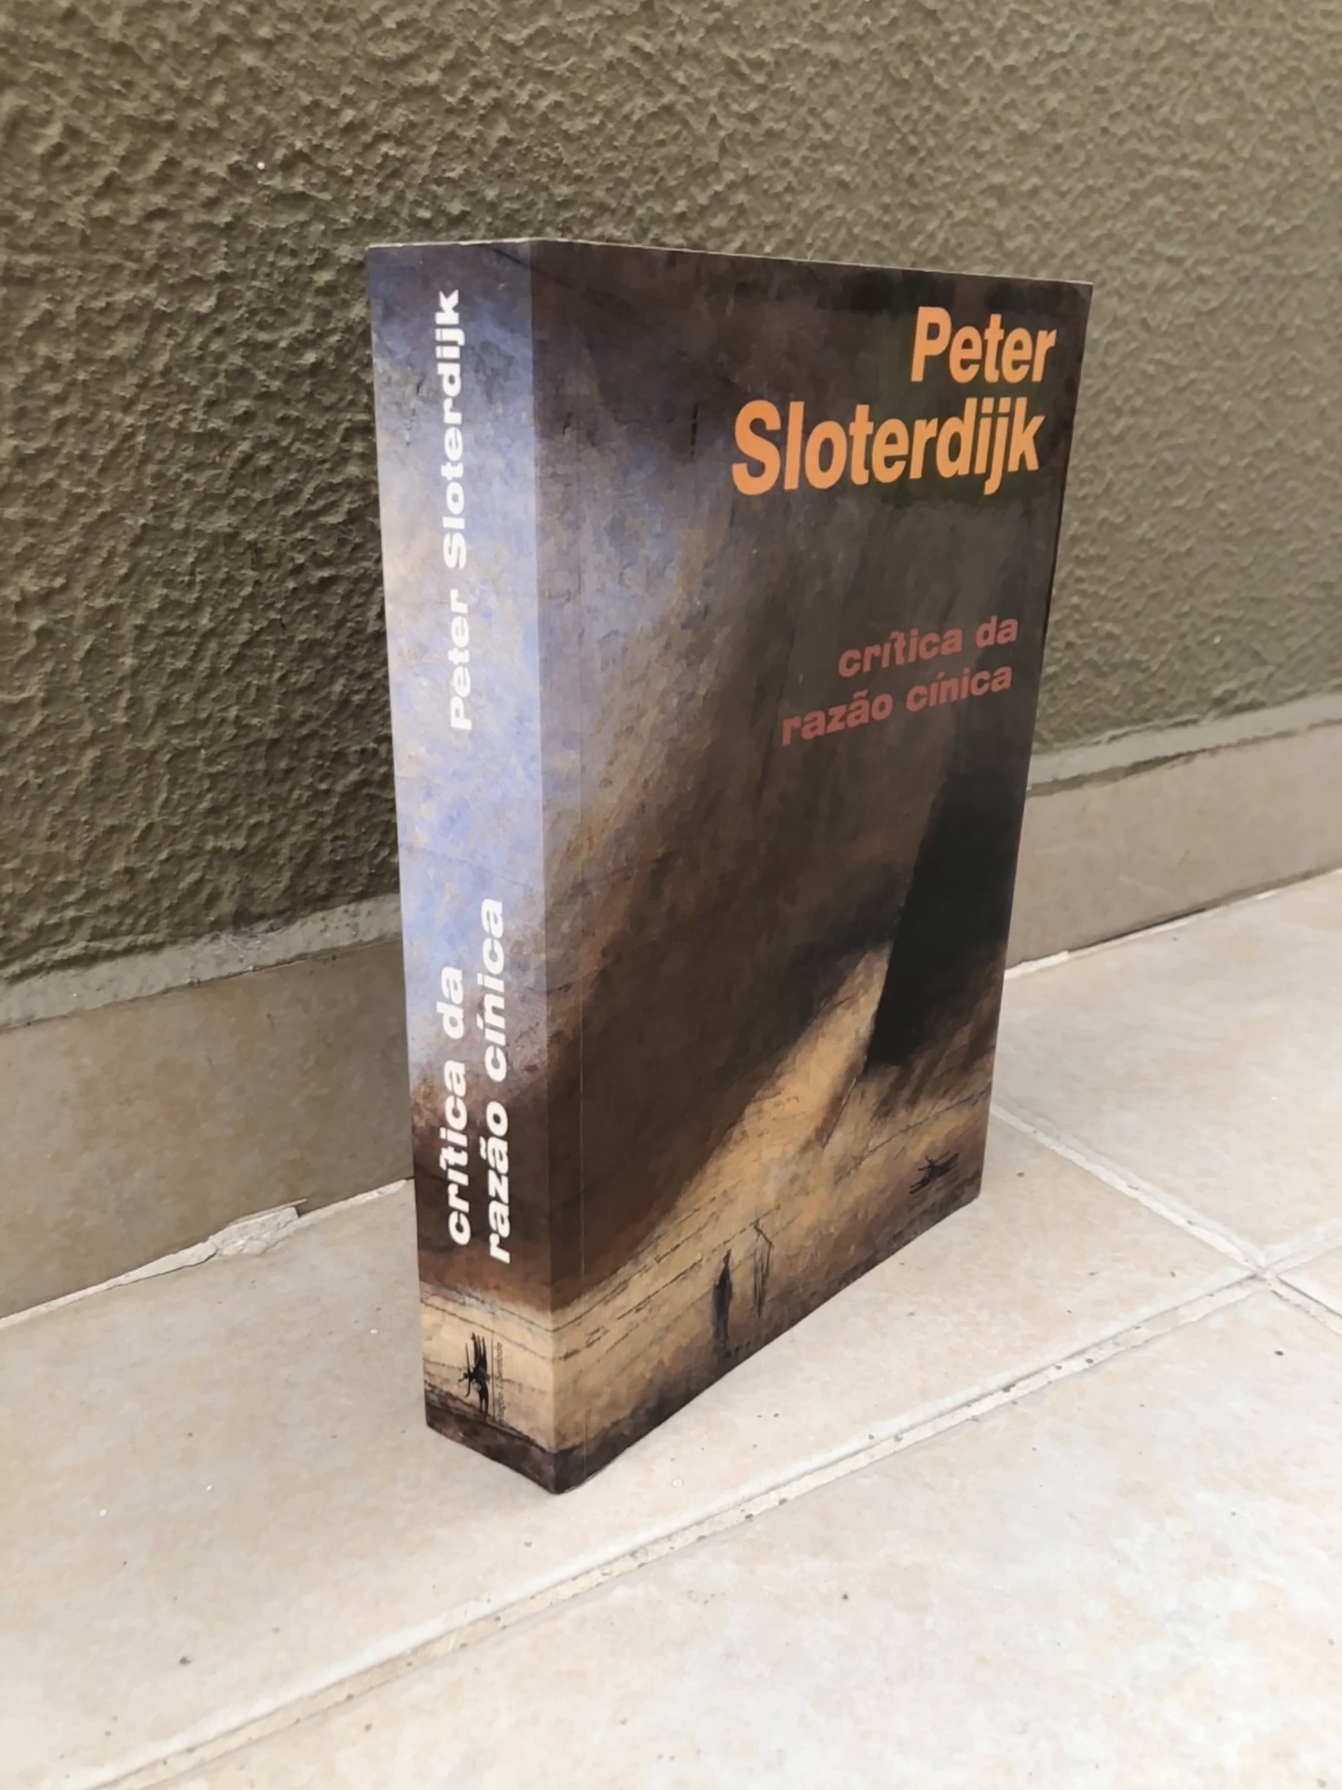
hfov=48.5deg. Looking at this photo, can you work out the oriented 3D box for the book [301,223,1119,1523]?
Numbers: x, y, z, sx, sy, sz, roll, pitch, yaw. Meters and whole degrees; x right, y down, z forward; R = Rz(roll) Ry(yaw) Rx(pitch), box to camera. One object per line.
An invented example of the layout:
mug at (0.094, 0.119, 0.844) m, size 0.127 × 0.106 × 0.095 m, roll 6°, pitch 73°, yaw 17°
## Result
book at (0.016, -0.015, 0.314) m, size 0.058 × 0.220 × 0.166 m, roll 18°, pitch 26°, yaw 39°
